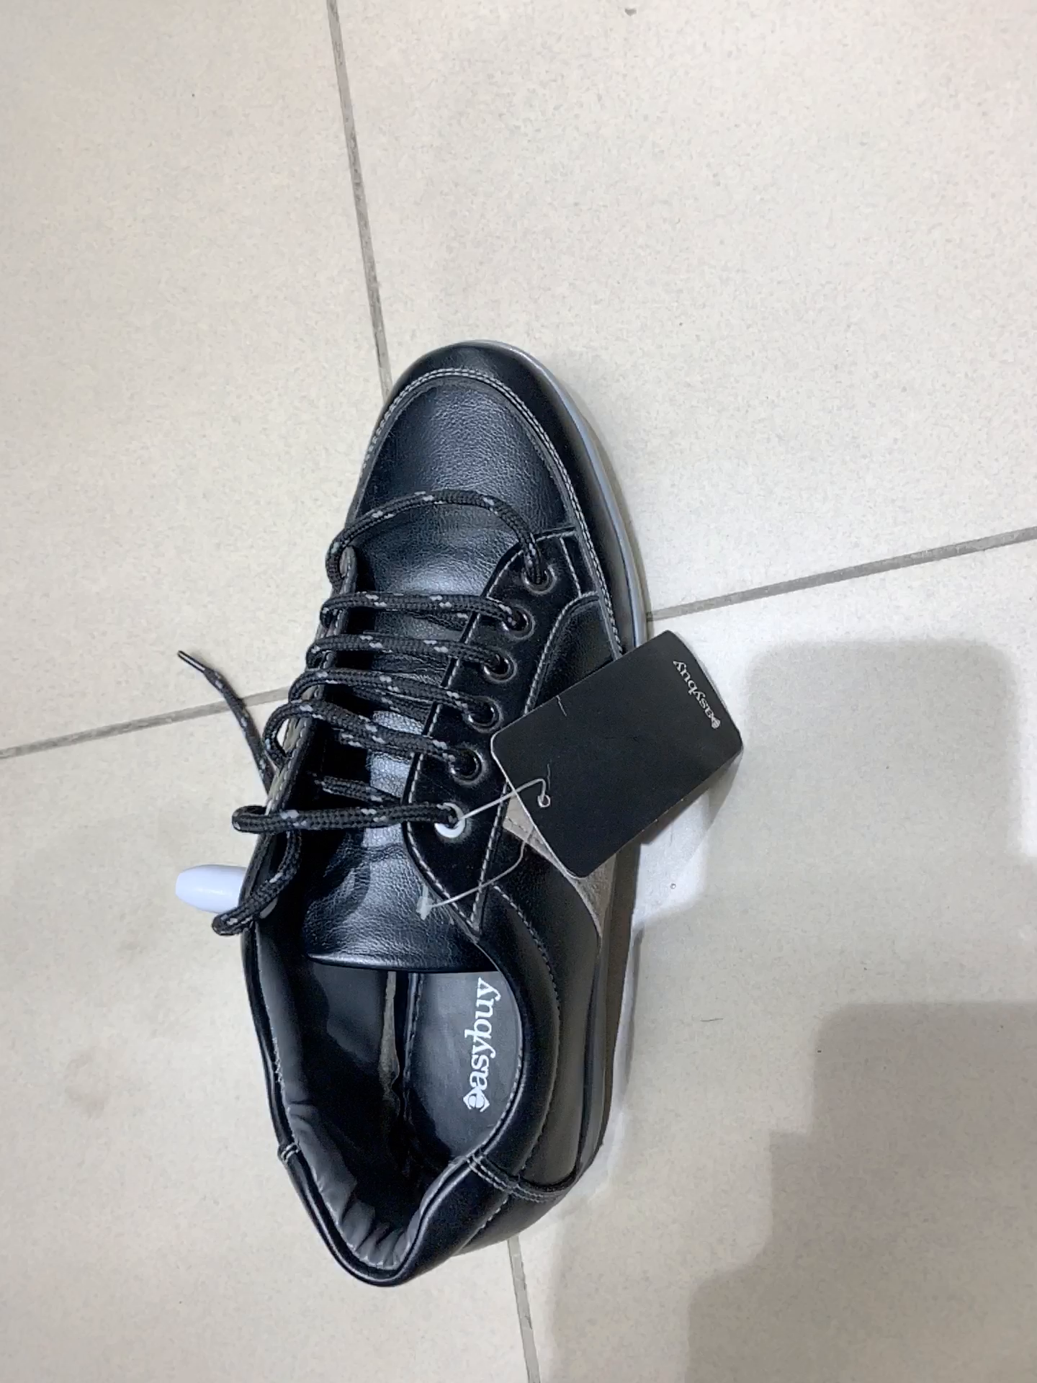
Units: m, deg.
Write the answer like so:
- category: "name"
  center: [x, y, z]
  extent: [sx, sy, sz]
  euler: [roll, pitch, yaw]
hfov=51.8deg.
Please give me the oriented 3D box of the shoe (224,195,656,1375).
- category: "shoe"
  center: [-0.017, 0.021, 0.329]
  extent: [0.100, 0.090, 0.300]
  euler: [-2, 83, 17]
